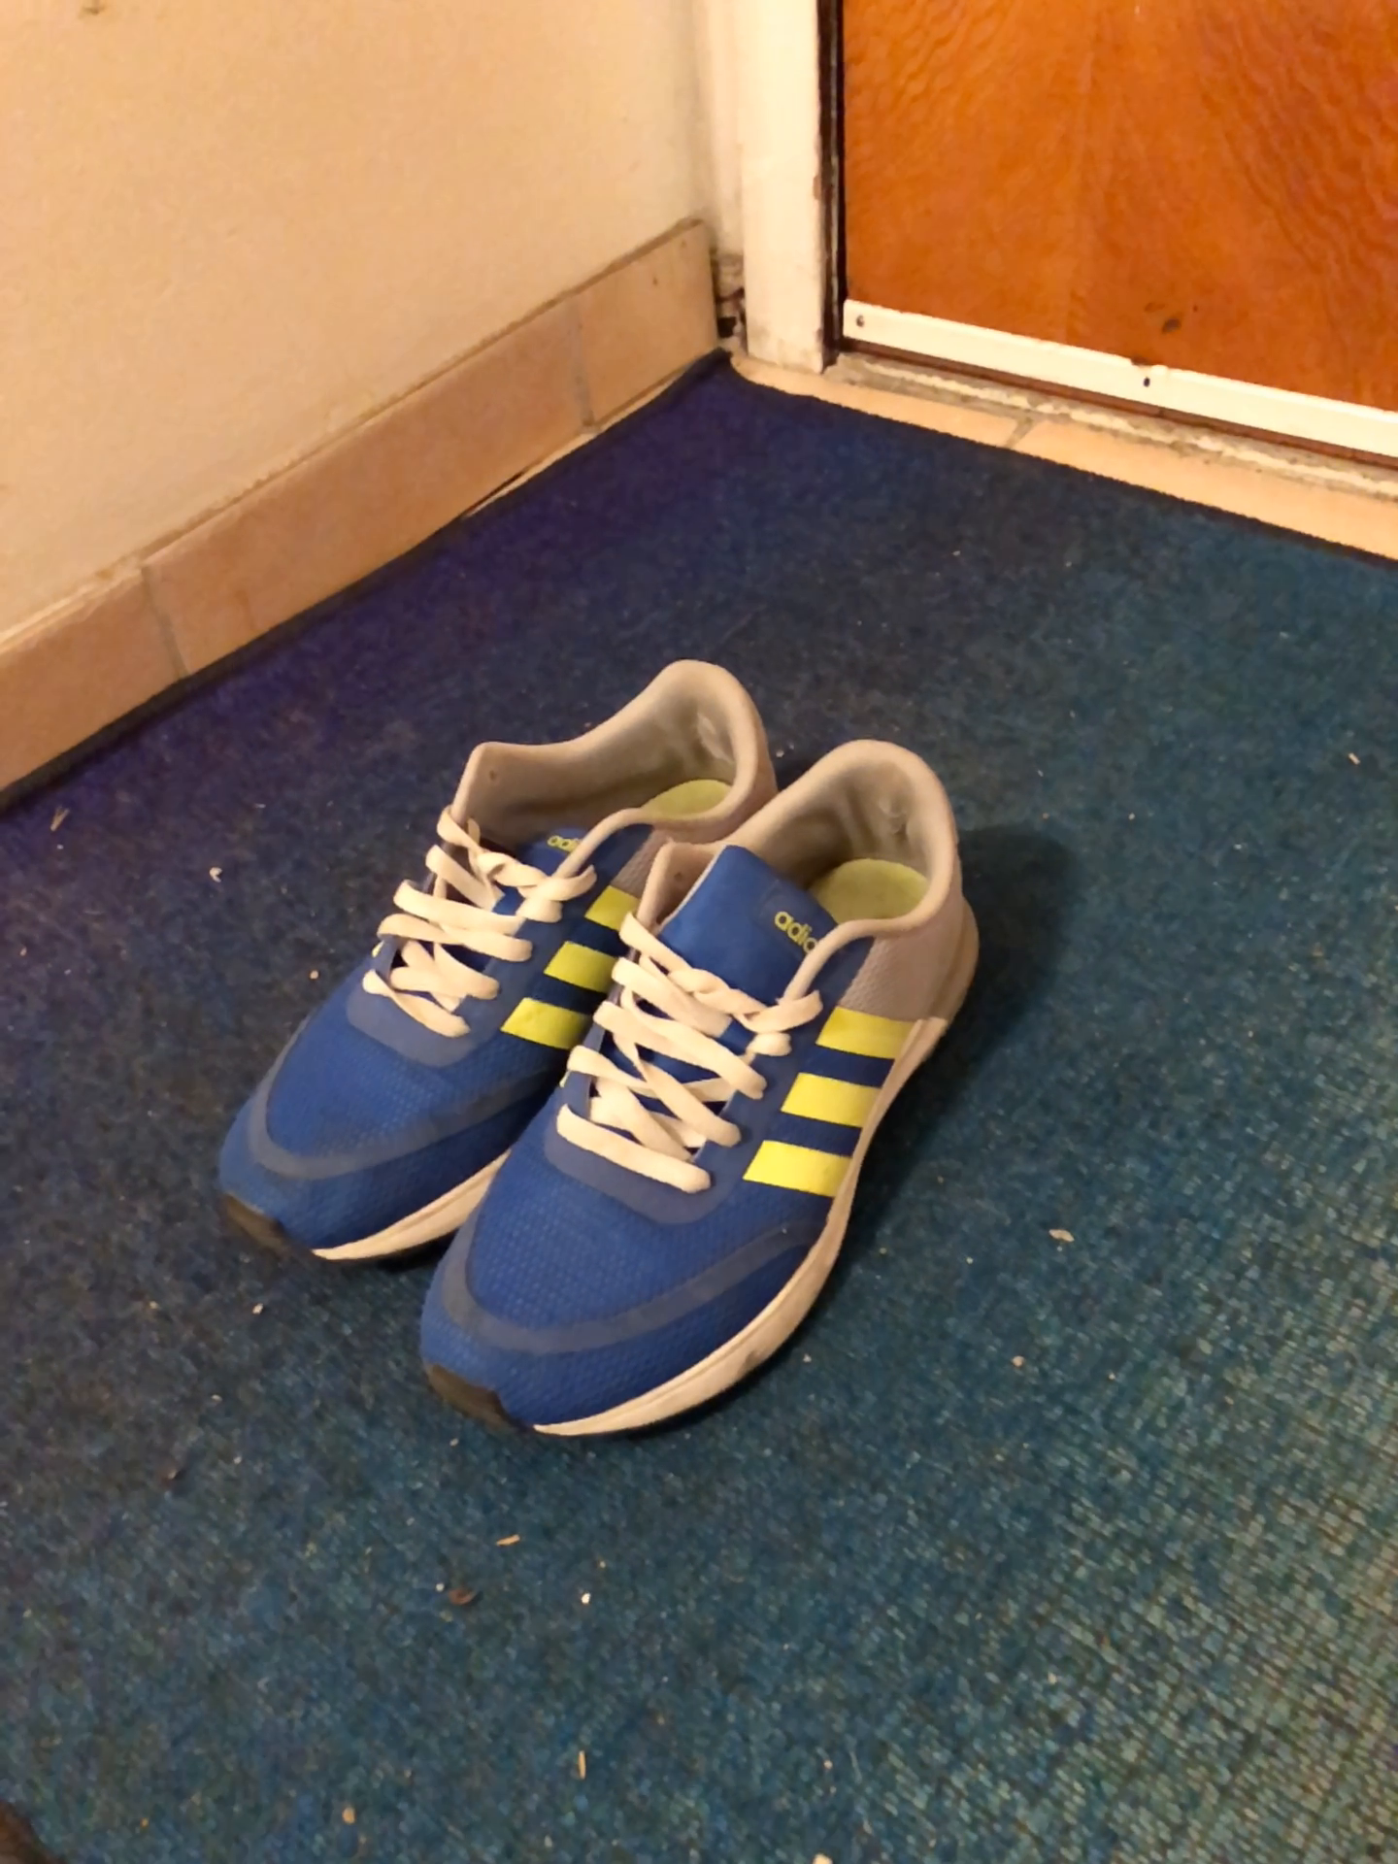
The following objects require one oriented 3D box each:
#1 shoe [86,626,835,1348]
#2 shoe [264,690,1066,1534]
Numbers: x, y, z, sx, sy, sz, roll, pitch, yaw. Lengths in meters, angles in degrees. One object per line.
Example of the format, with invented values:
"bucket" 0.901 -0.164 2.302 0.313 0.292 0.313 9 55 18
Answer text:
"shoe" -0.068 0.004 0.559 0.110 0.089 0.261 24 51 28
"shoe" 0.005 0.040 0.499 0.110 0.089 0.261 24 51 28
